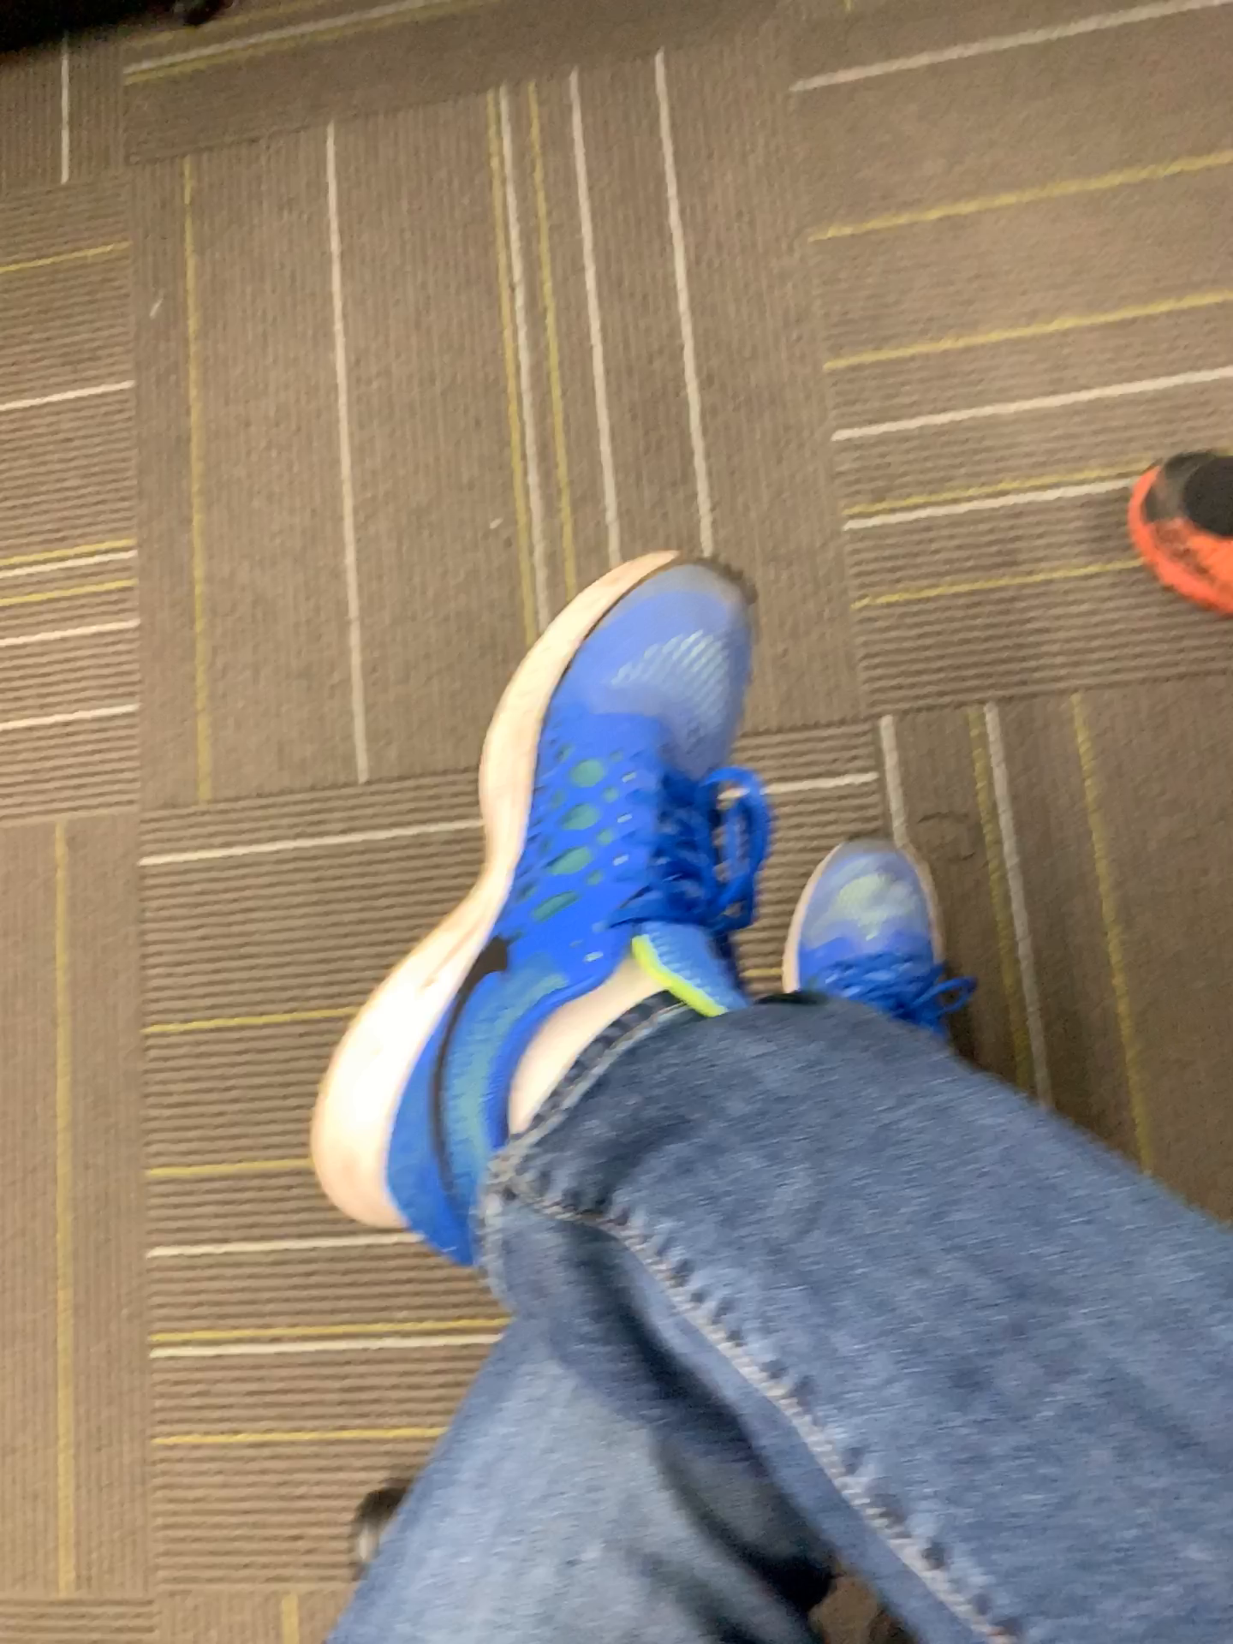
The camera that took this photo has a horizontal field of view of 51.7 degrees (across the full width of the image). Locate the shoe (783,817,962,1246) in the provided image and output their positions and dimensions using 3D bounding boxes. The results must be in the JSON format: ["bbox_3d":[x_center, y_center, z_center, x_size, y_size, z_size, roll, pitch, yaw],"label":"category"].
[{"bbox_3d":[0.179,0.146,0.903,0.101,0.087,0.283,-4,80,11],"label":"shoe"}]

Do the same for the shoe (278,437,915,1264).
[{"bbox_3d":[-0.001,0.012,0.482,0.103,0.117,0.275,17,84,38],"label":"shoe"}]
